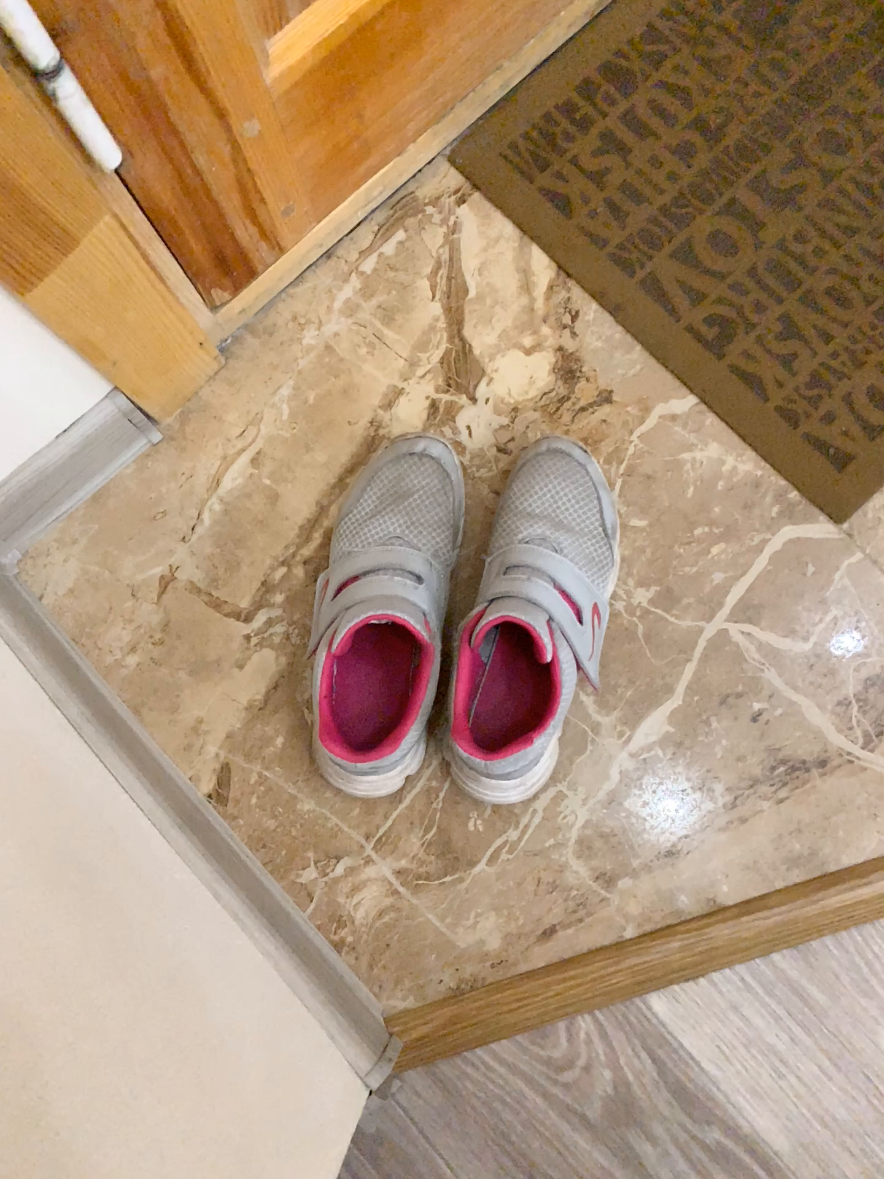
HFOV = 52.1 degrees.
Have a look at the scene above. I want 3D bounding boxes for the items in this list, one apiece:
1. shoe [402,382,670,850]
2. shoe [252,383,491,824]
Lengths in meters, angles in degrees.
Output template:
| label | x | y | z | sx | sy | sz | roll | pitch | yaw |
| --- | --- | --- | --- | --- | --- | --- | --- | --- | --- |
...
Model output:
| label | x | y | z | sx | sy | sz | roll | pitch | yaw |
| --- | --- | --- | --- | --- | --- | --- | --- | --- | --- |
| shoe | 0.060 | 0.018 | 0.578 | 0.100 | 0.100 | 0.260 | 13 | 82 | 6 |
| shoe | -0.037 | 0.011 | 0.580 | 0.100 | 0.100 | 0.250 | 8 | 81 | 5 |
